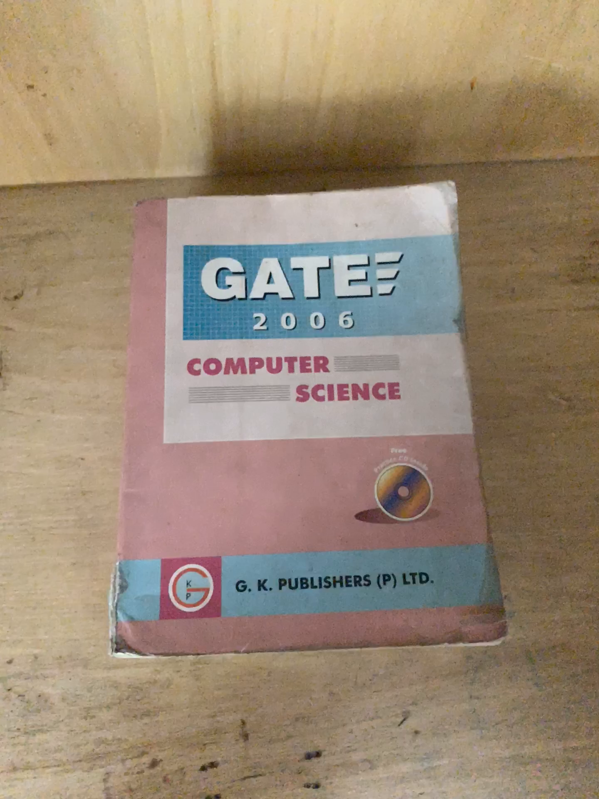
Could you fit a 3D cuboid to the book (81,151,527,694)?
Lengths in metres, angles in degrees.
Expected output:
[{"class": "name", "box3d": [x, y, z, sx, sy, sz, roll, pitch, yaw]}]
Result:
[{"class": "book", "box3d": [-0.001, 0.004, 0.343, 0.190, 0.080, 0.271, -1, 73, -3]}]
